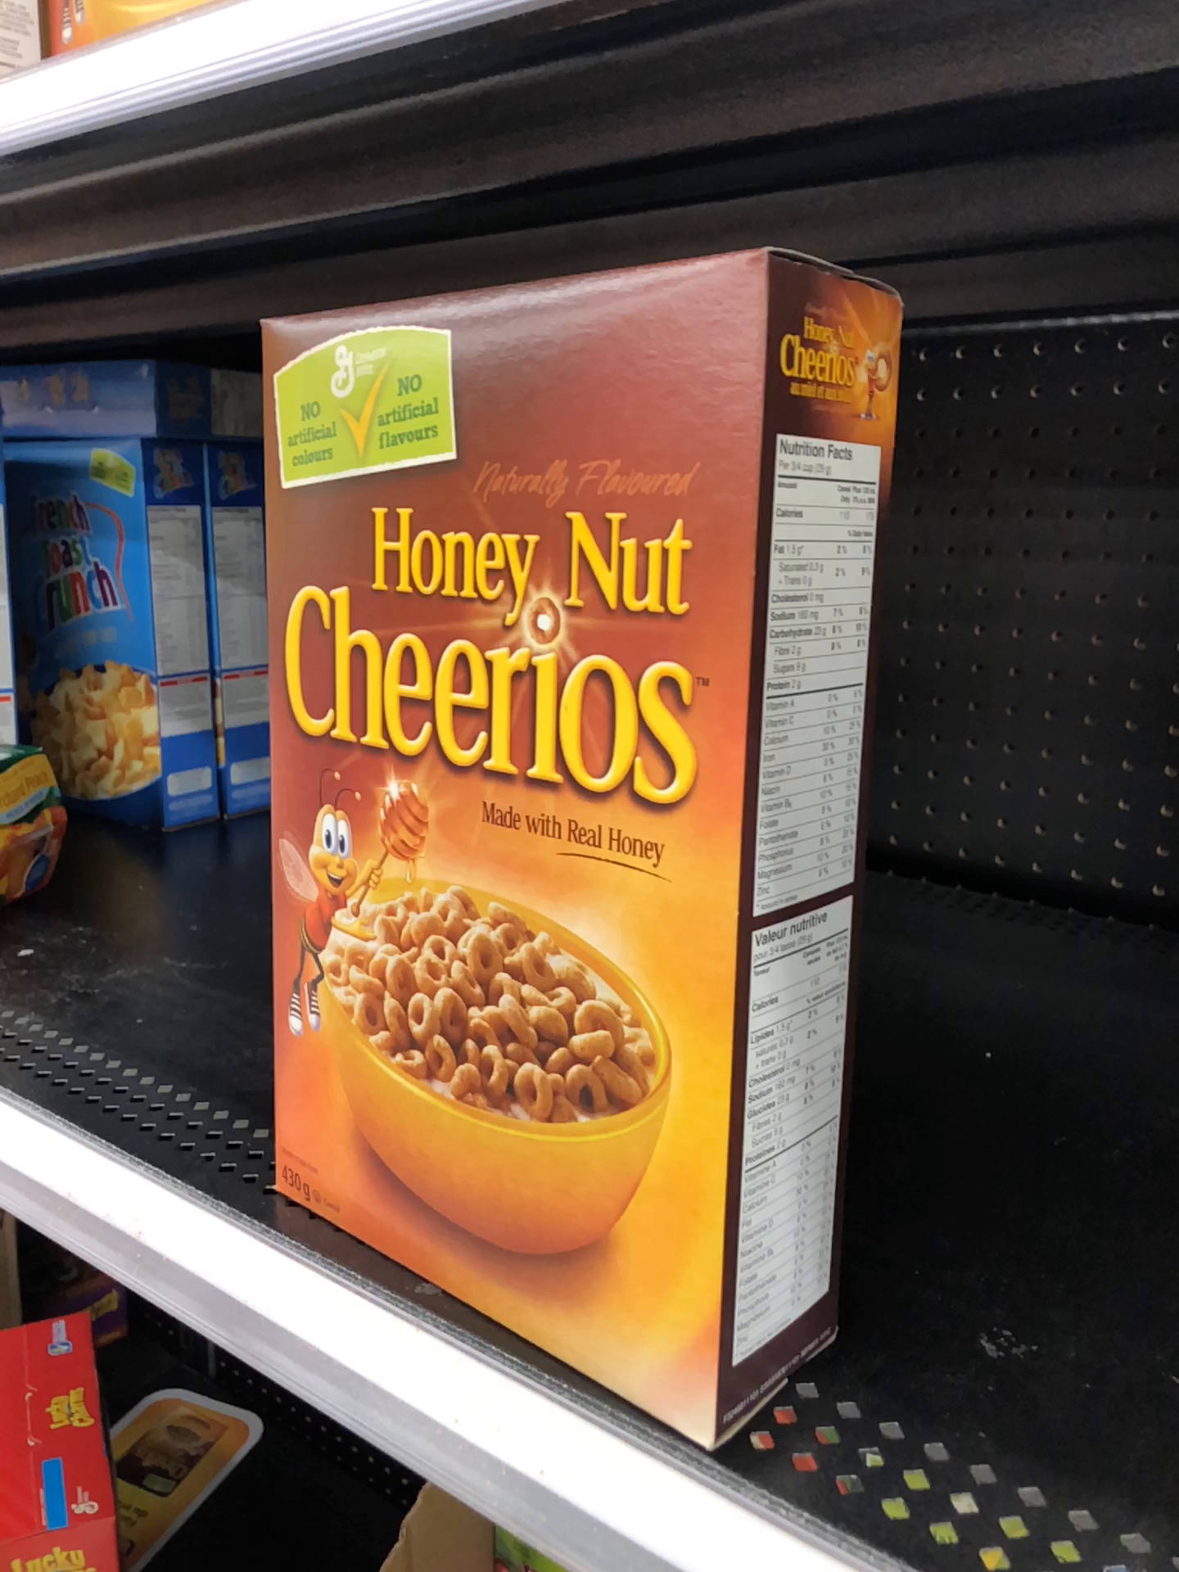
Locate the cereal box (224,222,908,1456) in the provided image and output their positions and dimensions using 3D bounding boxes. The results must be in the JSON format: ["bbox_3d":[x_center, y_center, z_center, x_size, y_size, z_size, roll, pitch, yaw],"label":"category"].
[{"bbox_3d":[-0.019,0.006,0.397,0.200,0.299,0.070,11,15,41],"label":"cereal box"}]
